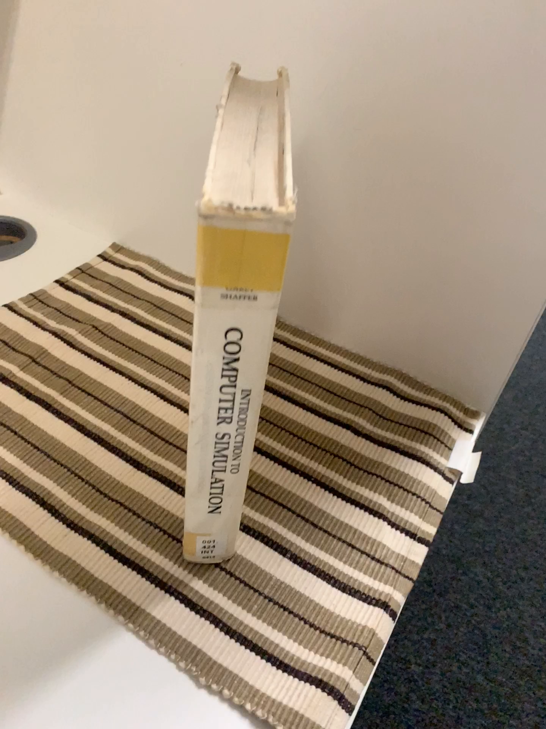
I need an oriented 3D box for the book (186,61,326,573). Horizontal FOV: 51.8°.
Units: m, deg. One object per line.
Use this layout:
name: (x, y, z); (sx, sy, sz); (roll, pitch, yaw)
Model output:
book: (-0.021, -0.020, 0.326); (0.040, 0.238, 0.172); (4, 41, -7)
